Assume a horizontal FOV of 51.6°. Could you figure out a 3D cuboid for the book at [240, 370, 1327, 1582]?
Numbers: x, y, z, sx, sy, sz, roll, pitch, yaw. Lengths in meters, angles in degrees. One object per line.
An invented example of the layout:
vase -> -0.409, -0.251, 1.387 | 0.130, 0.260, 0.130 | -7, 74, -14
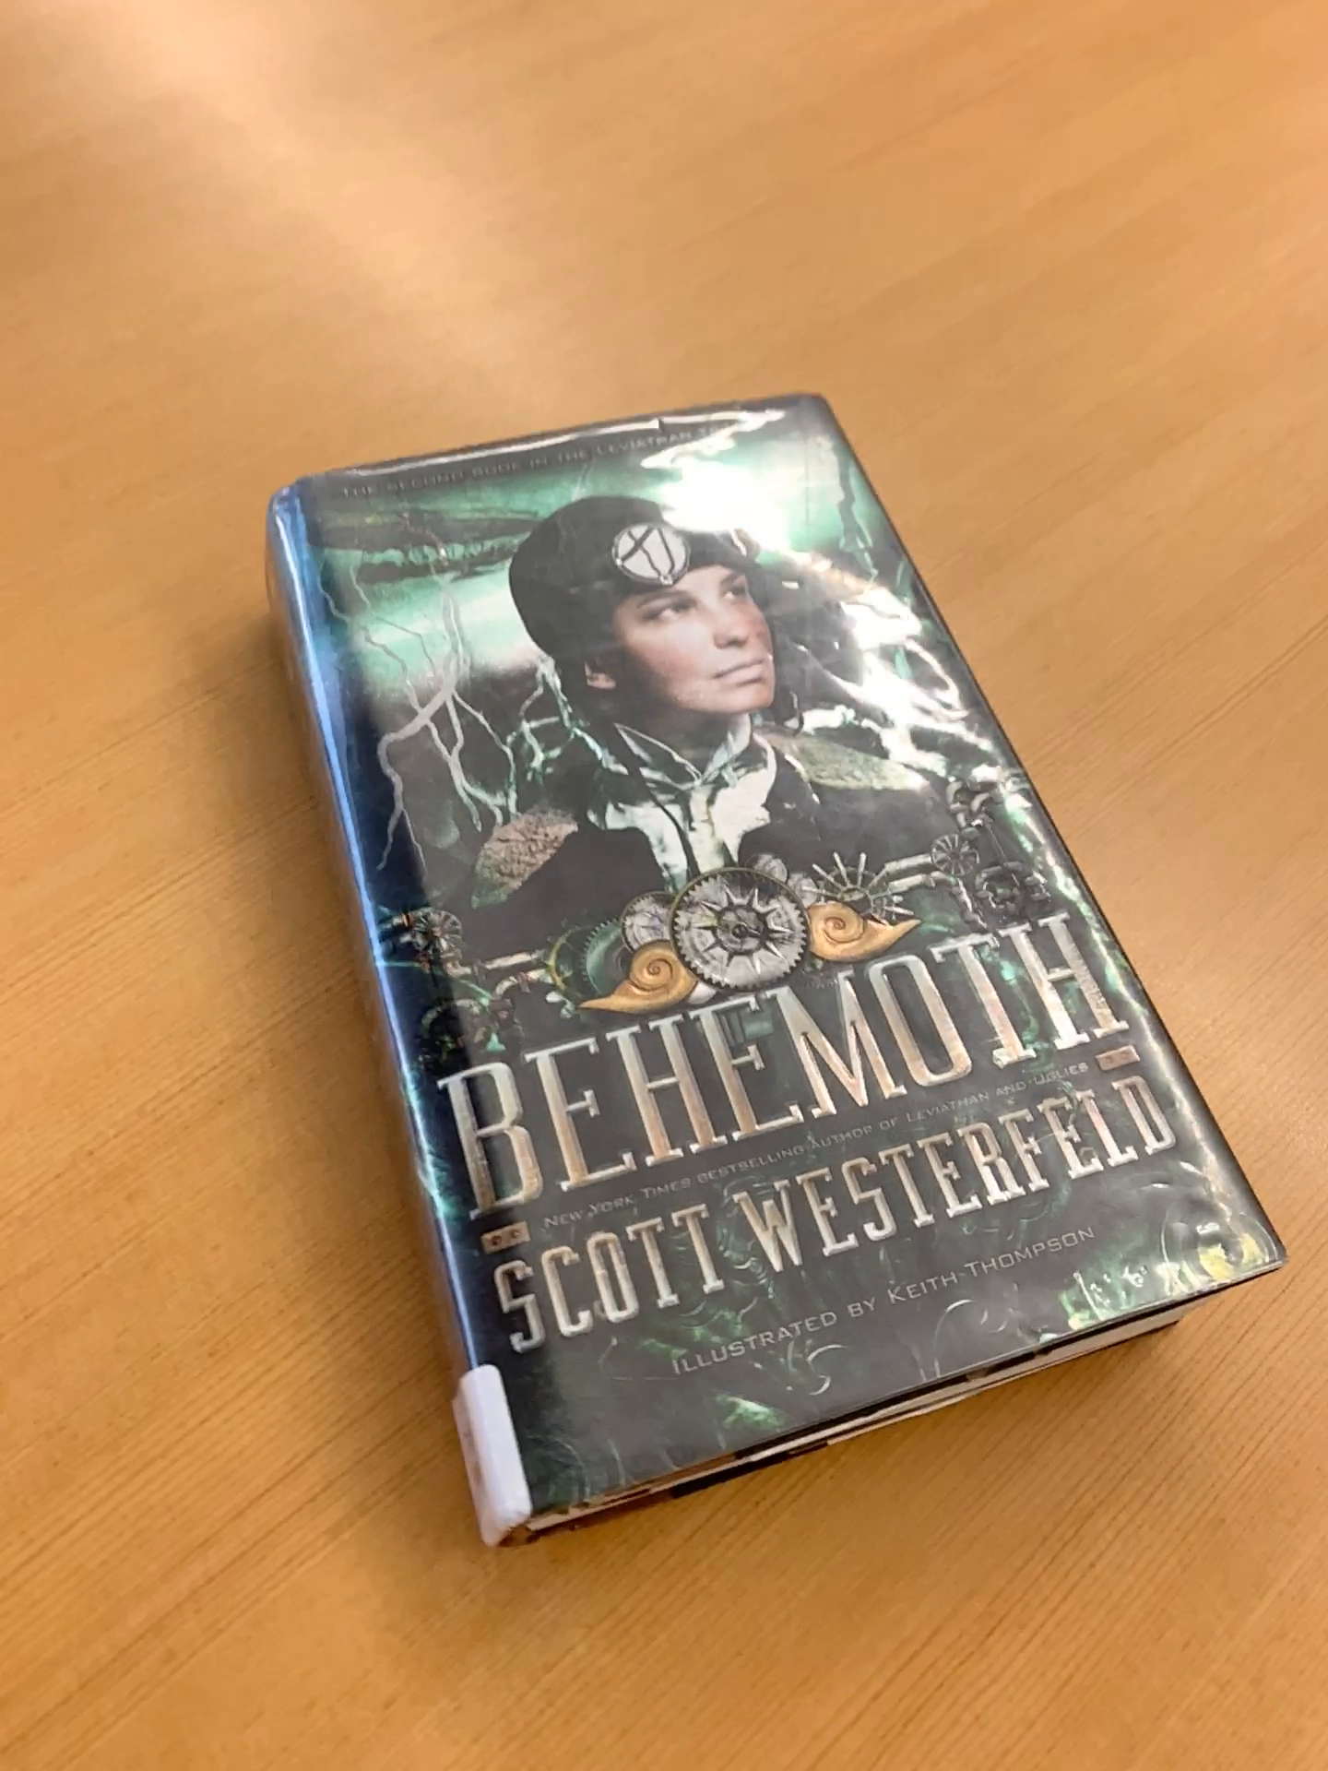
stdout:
book -> 0.007, -0.002, 0.303 | 0.150, 0.050, 0.241 | -14, 62, -12
